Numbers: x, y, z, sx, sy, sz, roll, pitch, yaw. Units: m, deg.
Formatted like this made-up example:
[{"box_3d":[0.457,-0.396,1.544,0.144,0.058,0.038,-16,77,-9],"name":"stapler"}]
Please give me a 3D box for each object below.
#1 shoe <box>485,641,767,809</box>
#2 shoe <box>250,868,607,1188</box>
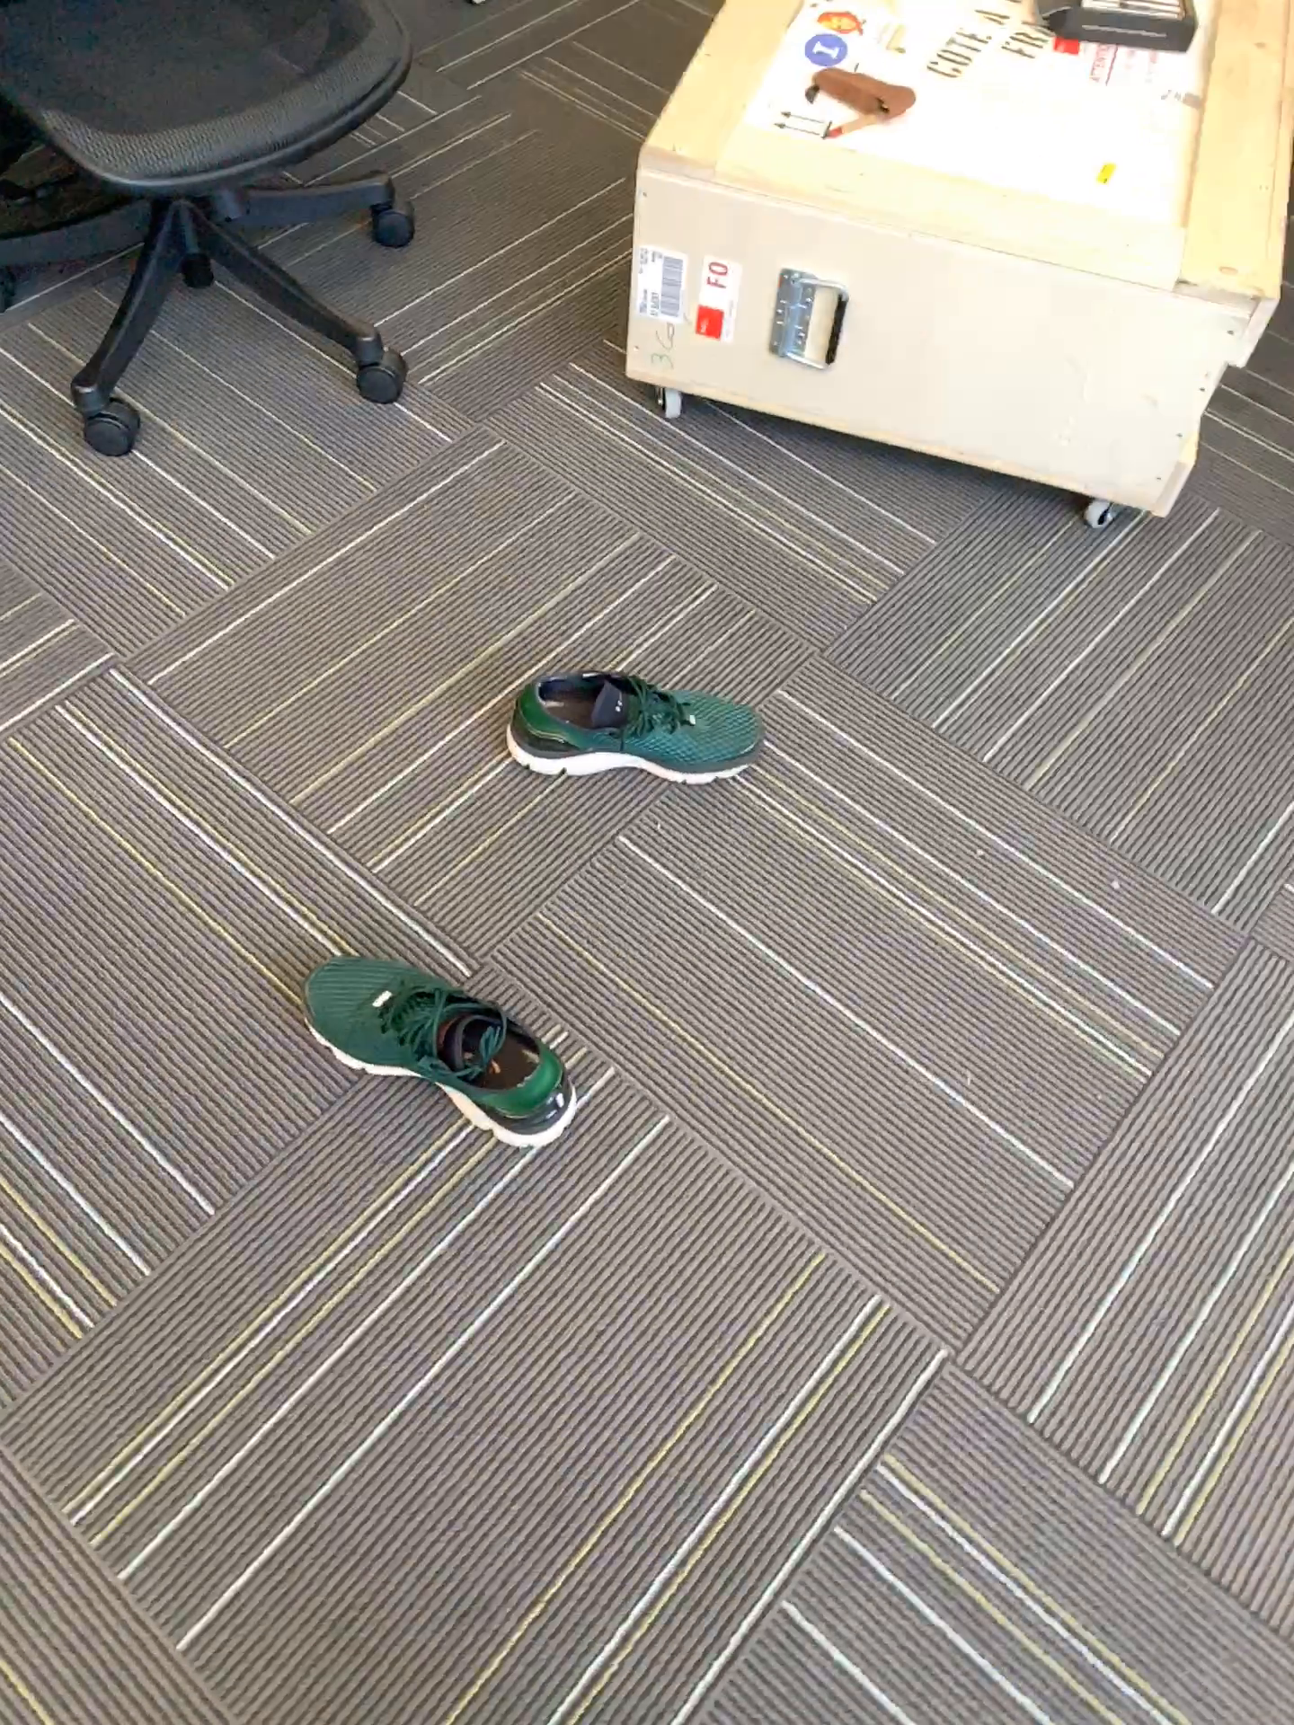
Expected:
[{"box_3d":[-0.027,-0.159,1.542,0.310,0.140,0.130,1,58,-3],"name":"shoe"},{"box_3d":[-0.208,0.160,1.284,0.310,0.140,0.130,28,60,13],"name":"shoe"}]
